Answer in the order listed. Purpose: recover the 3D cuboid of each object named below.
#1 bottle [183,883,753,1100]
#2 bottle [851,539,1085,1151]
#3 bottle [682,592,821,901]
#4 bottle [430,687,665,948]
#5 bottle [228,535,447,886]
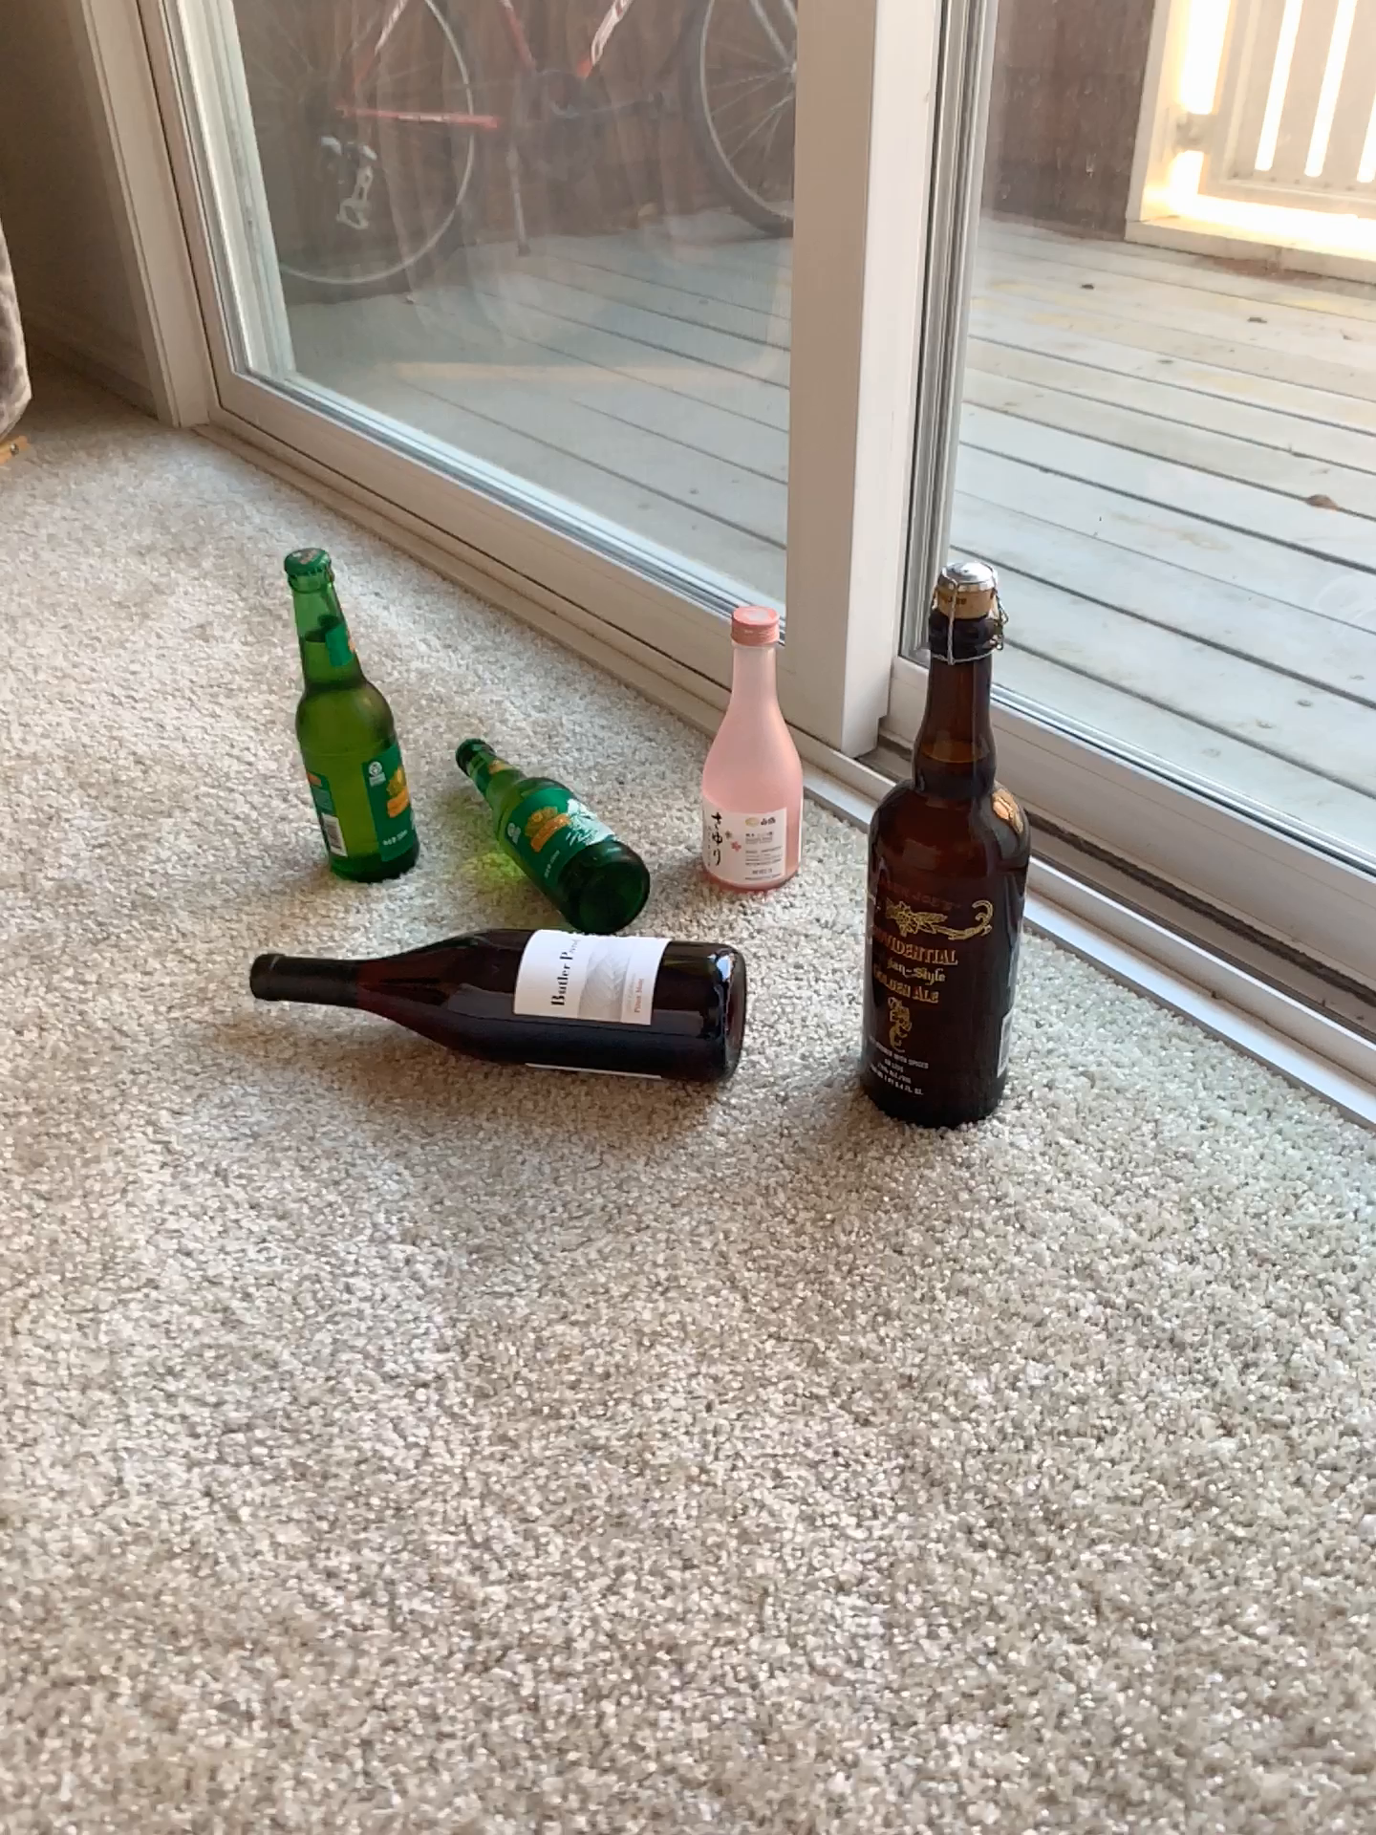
[{"bbox_3d":[-0.114,0.037,0.760,0.290,0.060,0.070,5,35,8],"label":"bottle"},{"bbox_3d":[0.132,-0.027,0.691,0.080,0.288,0.090,6,36,10],"label":"bottle"},{"bbox_3d":[0.040,-0.107,0.886,0.070,0.169,0.080,6,36,10],"label":"bottle"},{"bbox_3d":[-0.097,-0.073,0.930,0.060,0.060,0.231,-19,39,-23],"label":"bottle"},{"bbox_3d":[-0.216,-0.129,0.894,0.080,0.199,0.080,-1,35,1],"label":"bottle"}]
